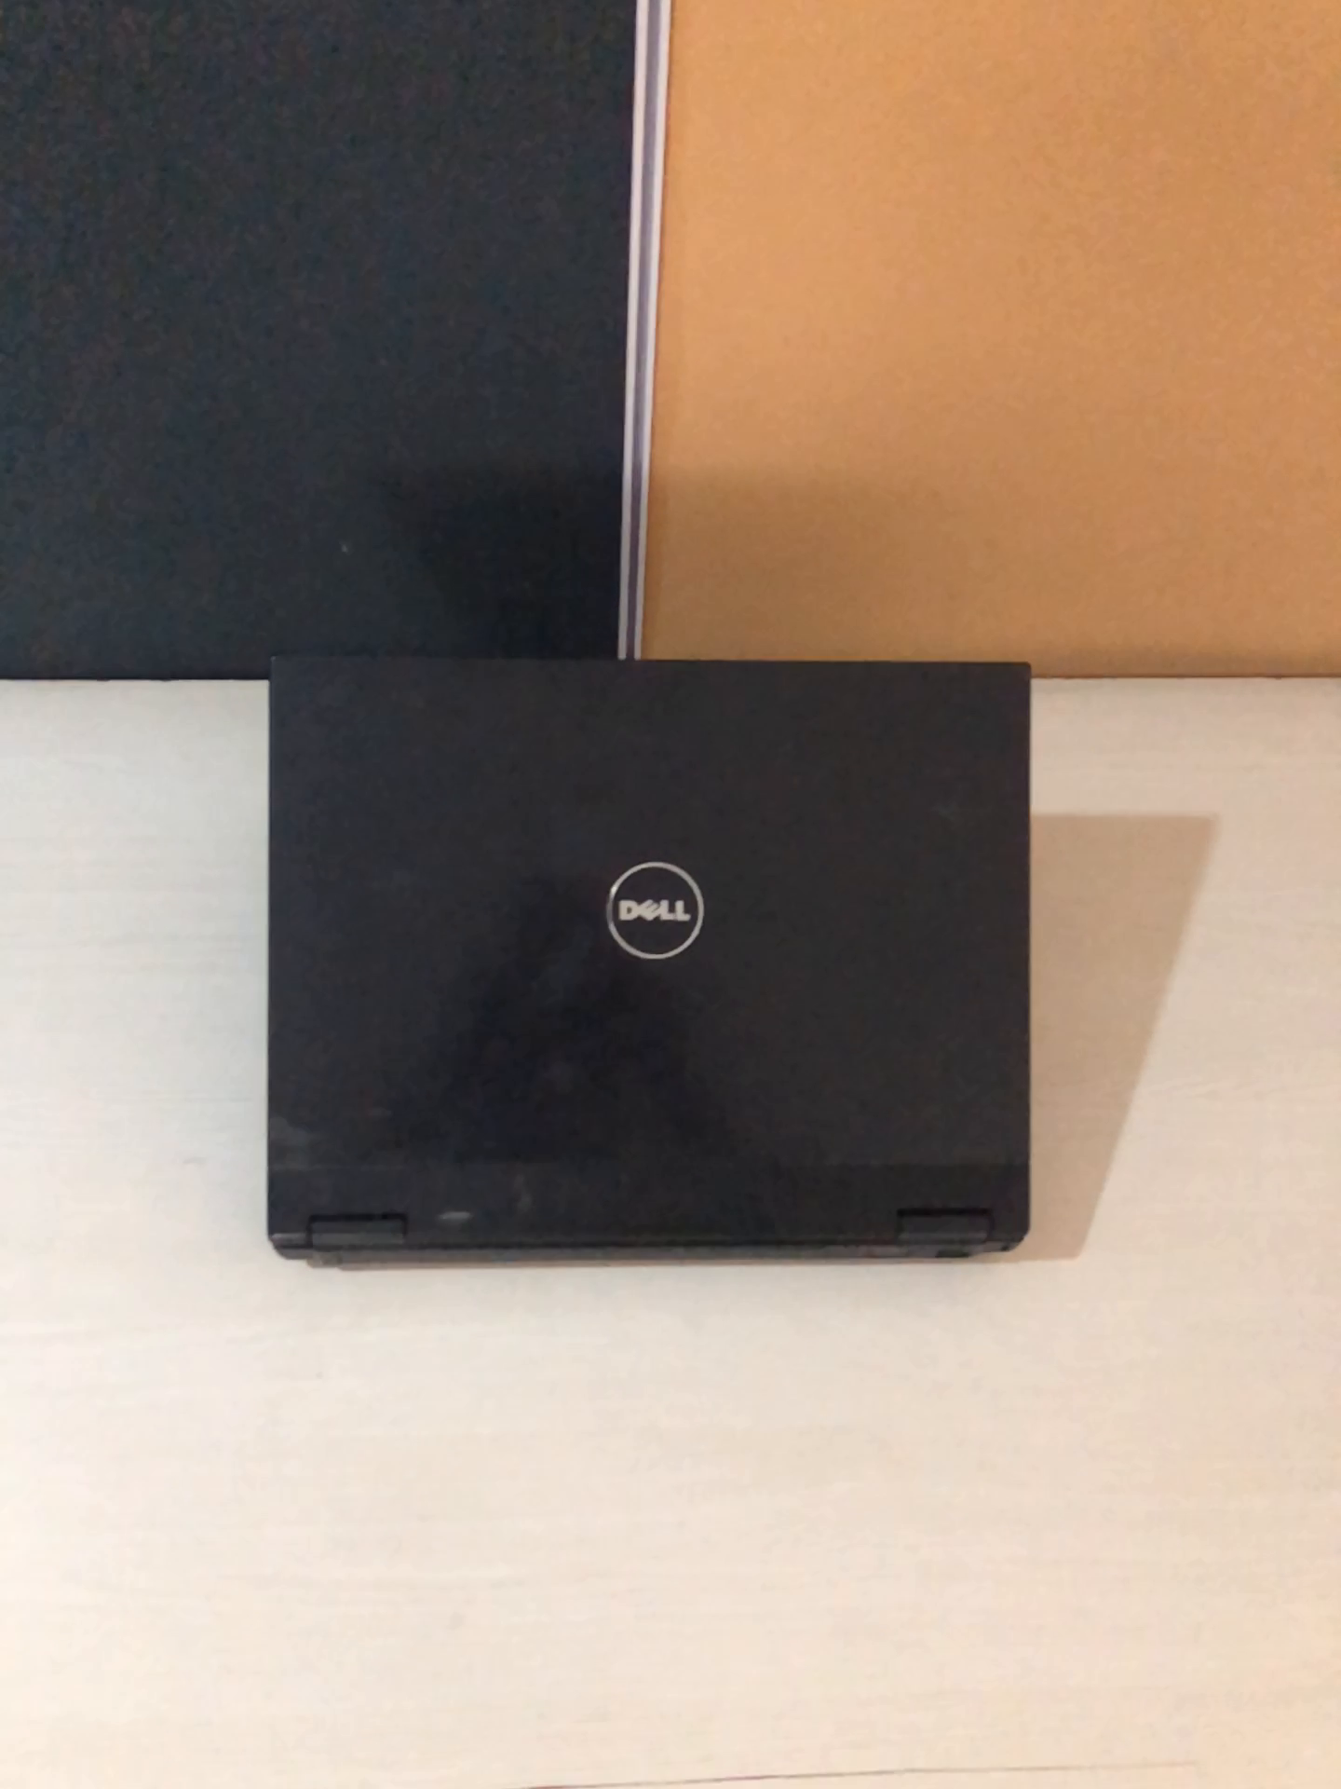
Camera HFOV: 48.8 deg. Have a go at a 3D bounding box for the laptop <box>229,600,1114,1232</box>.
[{"bbox_3d":[-0.003,0.007,0.616,0.302,0.126,0.225,0,59,-3],"label":"laptop"}]
